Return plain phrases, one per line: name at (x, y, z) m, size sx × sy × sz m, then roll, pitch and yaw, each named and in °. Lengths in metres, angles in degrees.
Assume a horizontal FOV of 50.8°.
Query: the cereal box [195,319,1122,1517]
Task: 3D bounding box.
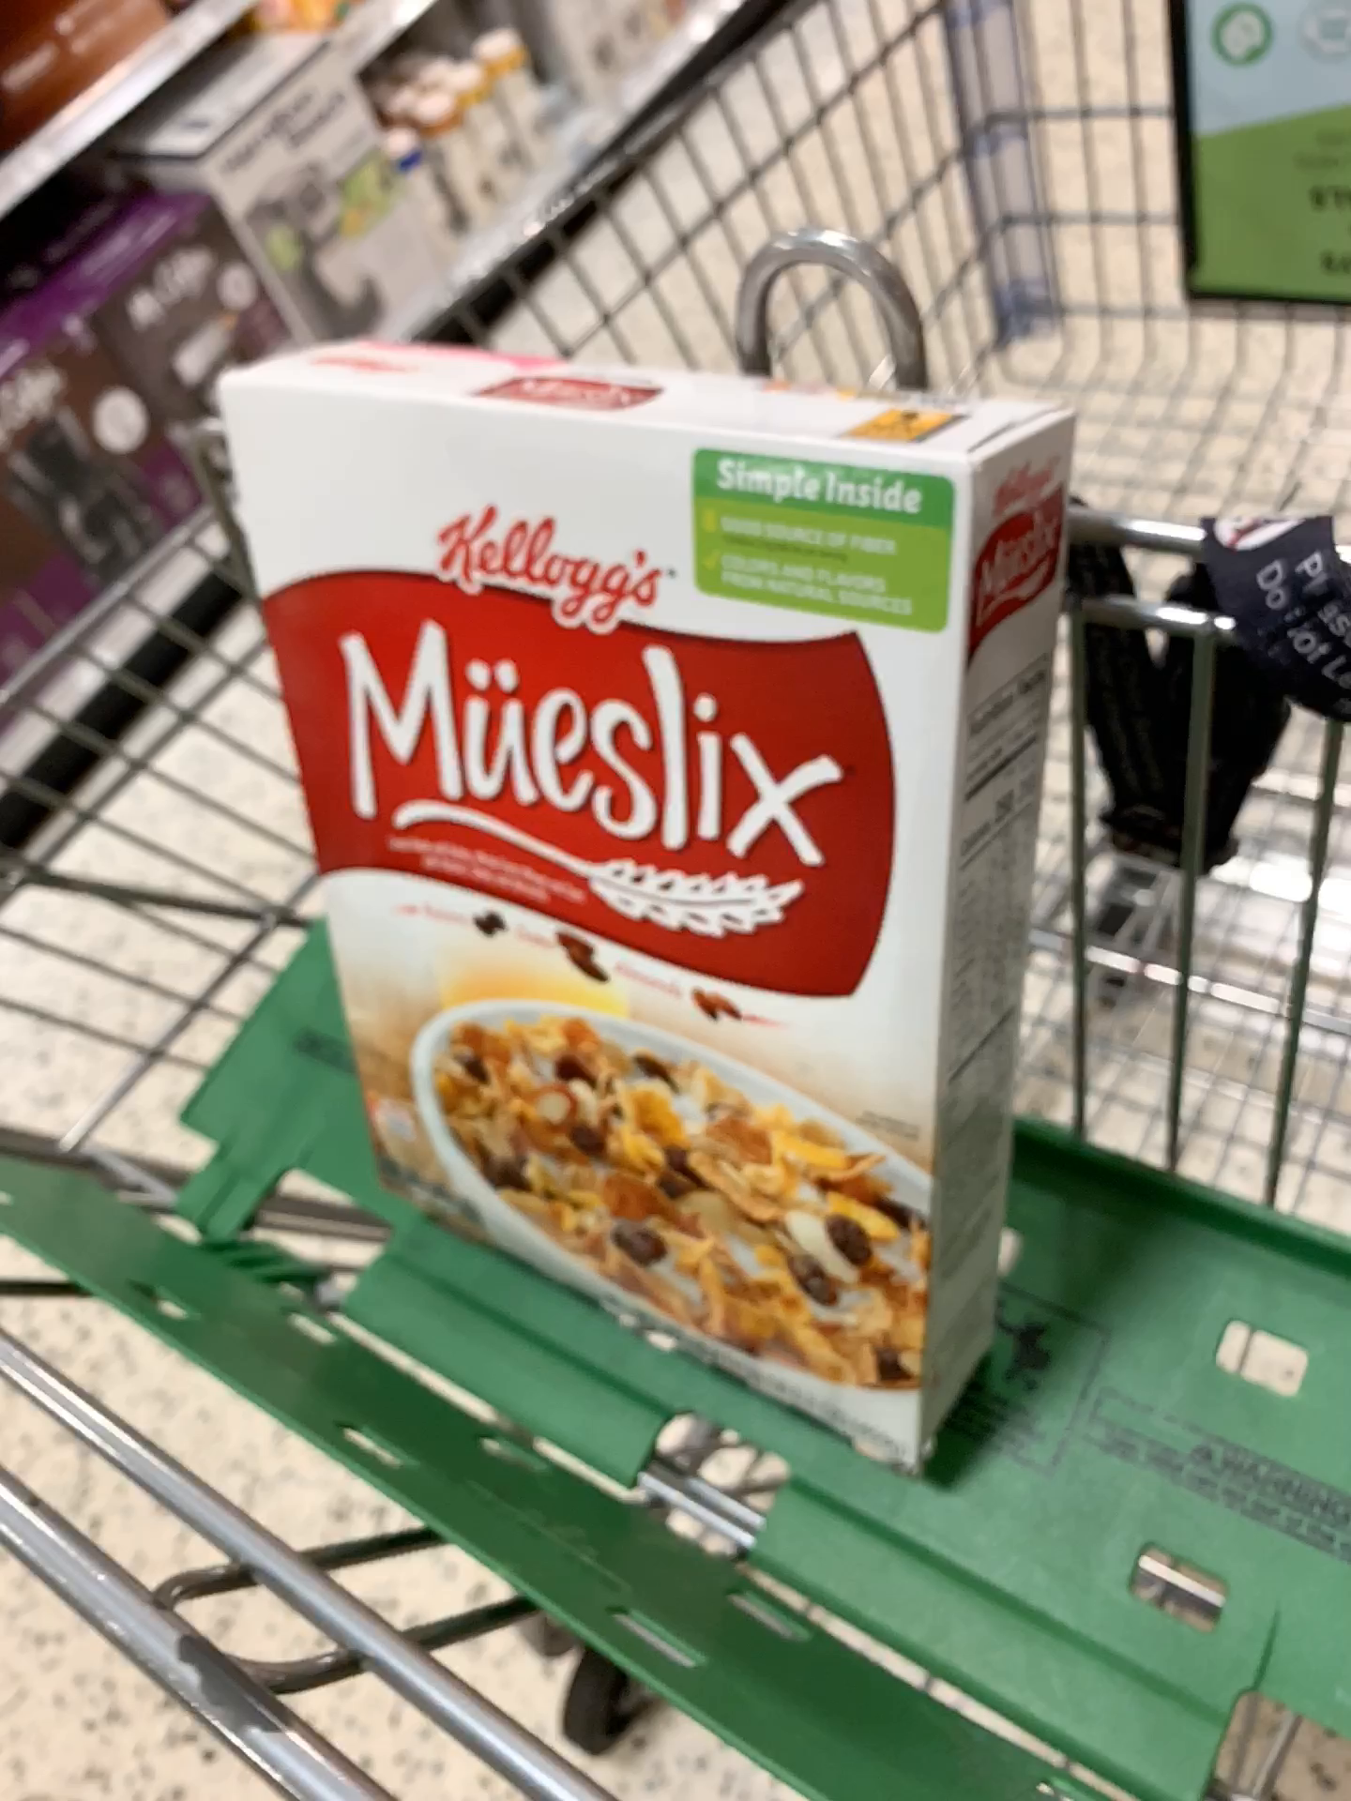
cereal box at (-0.008, 0.002, 0.369) m, size 0.201 × 0.268 × 0.060 m, roll 18°, pitch 37°, yaw 32°
